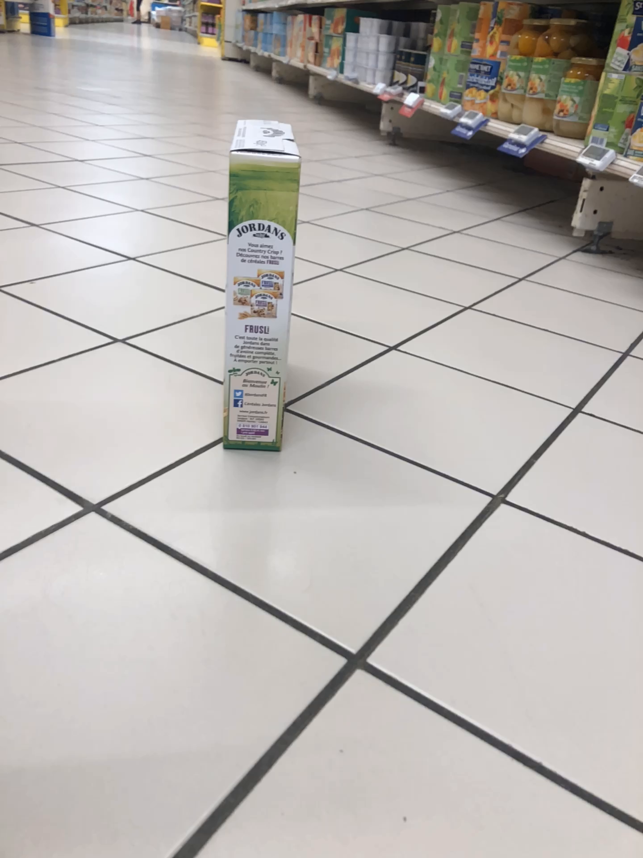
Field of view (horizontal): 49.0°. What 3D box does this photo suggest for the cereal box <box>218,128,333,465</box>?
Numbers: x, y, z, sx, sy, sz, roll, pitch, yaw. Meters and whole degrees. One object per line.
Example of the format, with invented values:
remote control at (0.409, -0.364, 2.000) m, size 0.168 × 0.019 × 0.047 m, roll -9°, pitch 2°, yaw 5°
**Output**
cereal box at (-0.039, -0.113, 0.559) m, size 0.060 × 0.209 × 0.191 m, roll 4°, pitch 28°, yaw -6°
